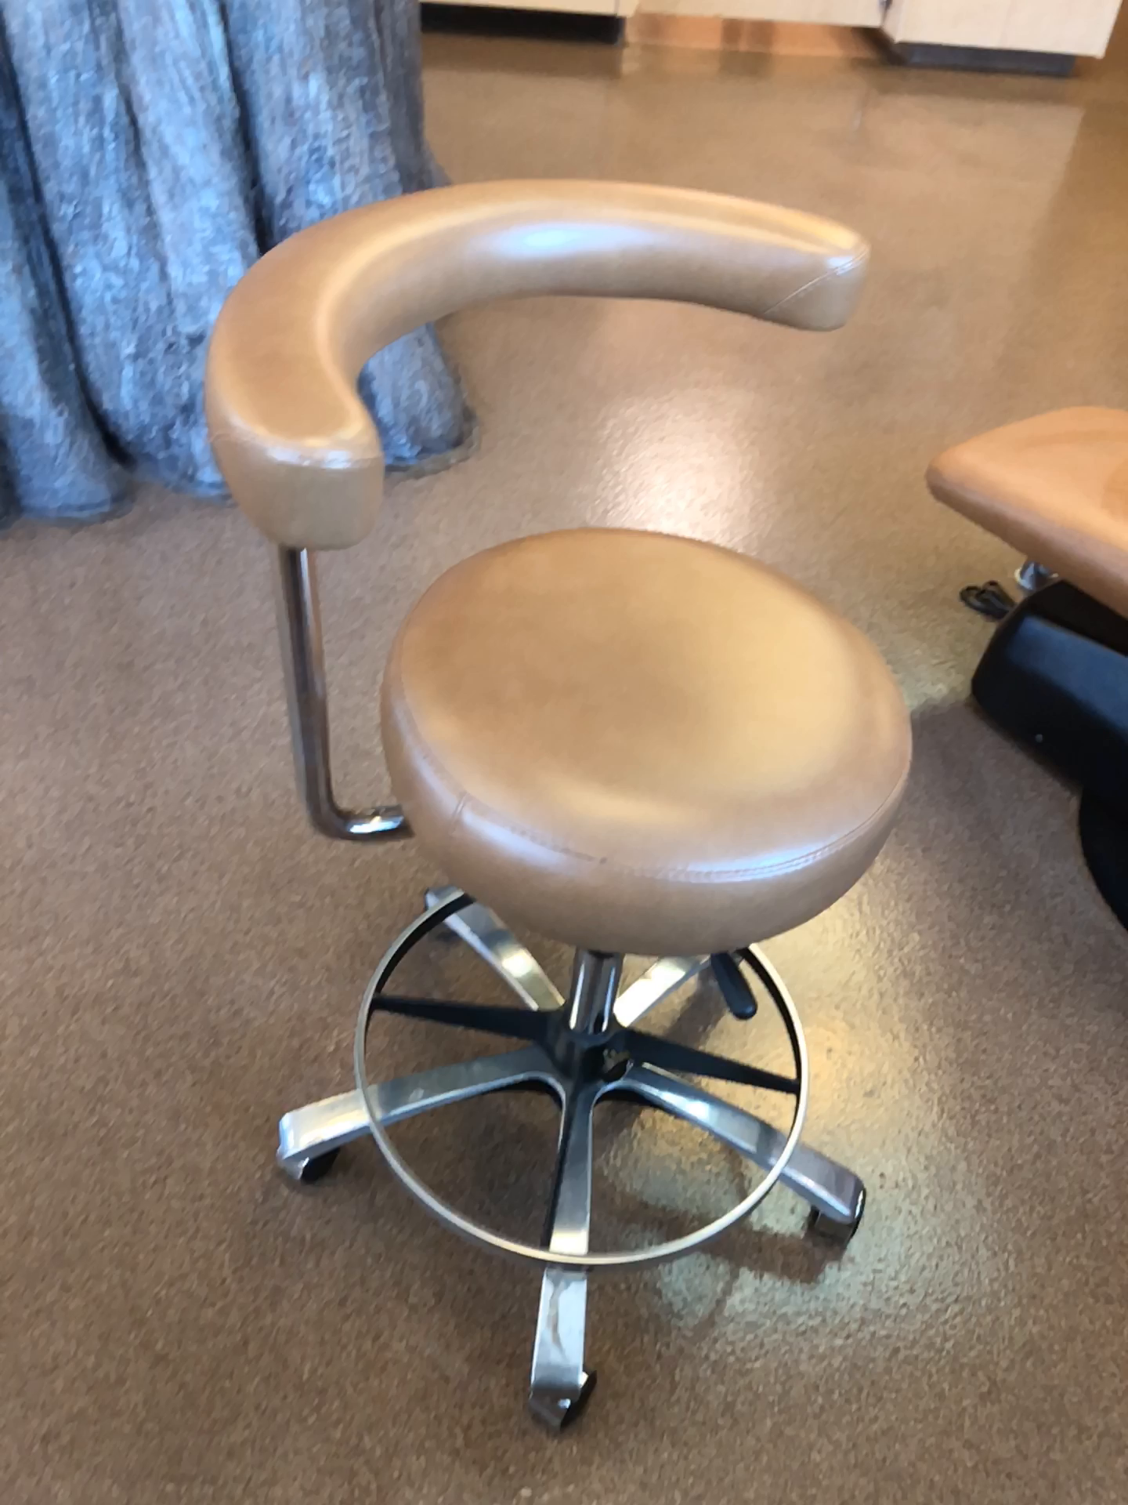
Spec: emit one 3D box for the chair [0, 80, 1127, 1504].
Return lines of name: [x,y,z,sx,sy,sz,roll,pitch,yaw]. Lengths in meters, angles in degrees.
chair: [0.047,0.045,0.954,0.612,0.804,0.592,-32,55,-34]
